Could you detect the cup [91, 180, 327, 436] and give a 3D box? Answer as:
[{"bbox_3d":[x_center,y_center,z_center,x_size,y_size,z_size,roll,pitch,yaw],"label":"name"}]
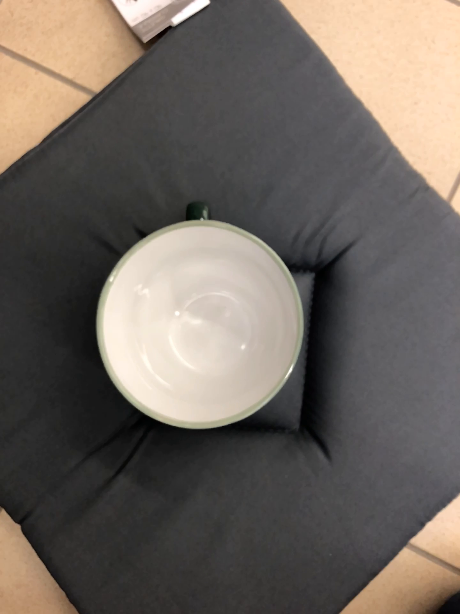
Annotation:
[{"bbox_3d":[-0.012,0.002,0.305,0.120,0.060,0.130,0,85,2],"label":"cup"}]
